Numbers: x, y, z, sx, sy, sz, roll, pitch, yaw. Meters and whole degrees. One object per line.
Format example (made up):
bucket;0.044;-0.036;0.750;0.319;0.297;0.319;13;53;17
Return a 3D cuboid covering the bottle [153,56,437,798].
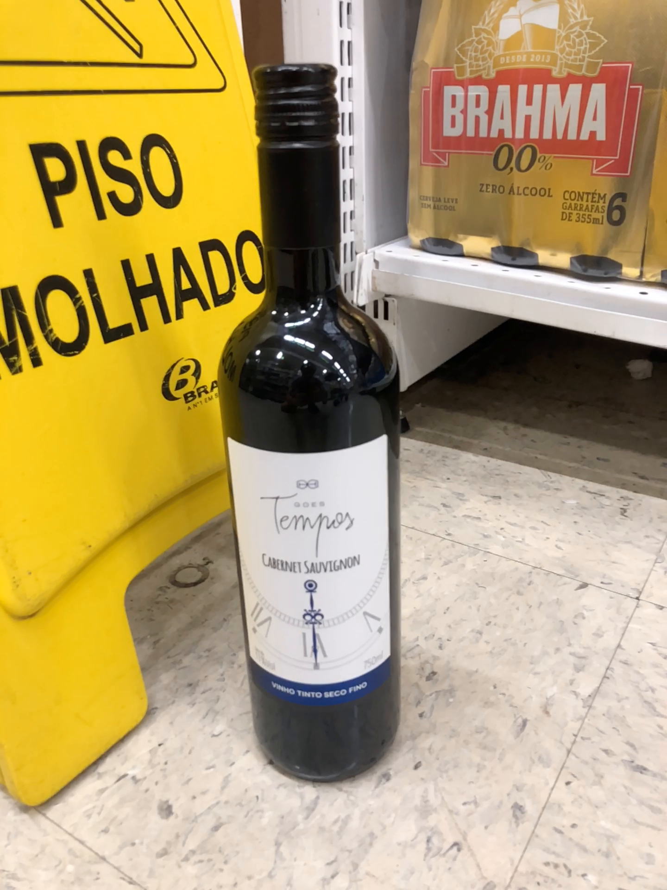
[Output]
bottle;-0.004;0.008;0.298;0.080;0.288;0.070;0;25;5
